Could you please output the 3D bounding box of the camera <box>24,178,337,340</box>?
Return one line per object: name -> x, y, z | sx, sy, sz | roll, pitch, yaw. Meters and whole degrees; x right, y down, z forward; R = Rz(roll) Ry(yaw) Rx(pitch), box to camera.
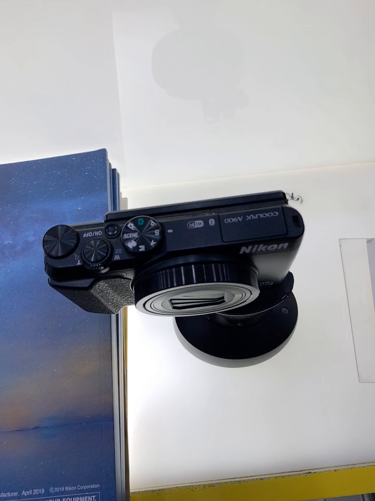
camera -> -0.004, 0.008, 0.182 | 0.120, 0.060, 0.040 | -8, 68, -1
